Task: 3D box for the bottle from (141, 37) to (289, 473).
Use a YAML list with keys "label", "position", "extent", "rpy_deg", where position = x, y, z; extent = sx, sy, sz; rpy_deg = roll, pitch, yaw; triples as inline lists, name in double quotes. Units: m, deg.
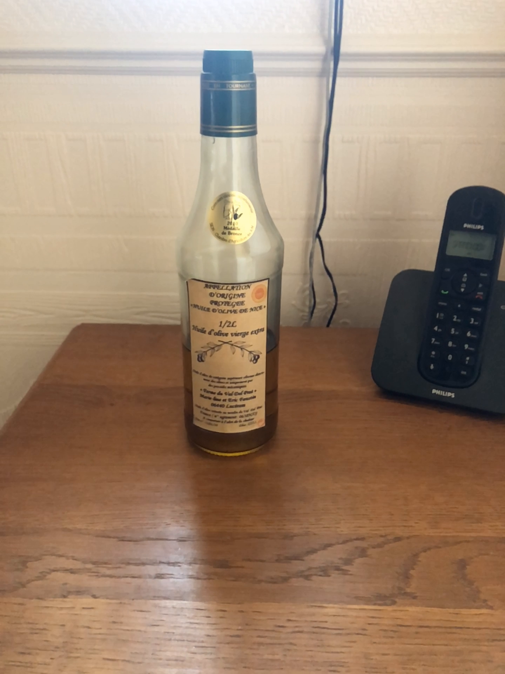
- label: "bottle"
  position: [-0.016, -0.043, 0.357]
  extent: [0.070, 0.259, 0.080]
  rpy_deg: [1, 26, 2]
